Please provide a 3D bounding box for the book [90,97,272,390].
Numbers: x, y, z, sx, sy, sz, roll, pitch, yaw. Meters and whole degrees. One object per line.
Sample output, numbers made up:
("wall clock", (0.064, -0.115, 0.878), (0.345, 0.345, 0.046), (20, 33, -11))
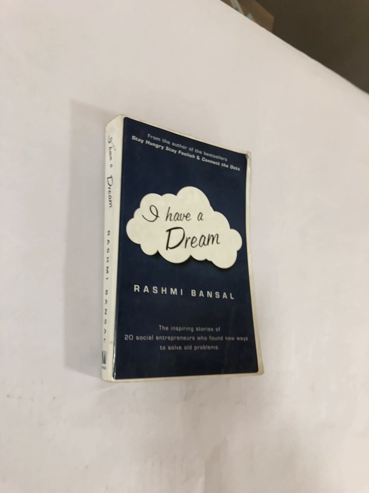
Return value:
("book", (0.003, 0.002, 0.325), (0.140, 0.030, 0.200), (9, 73, -34))
